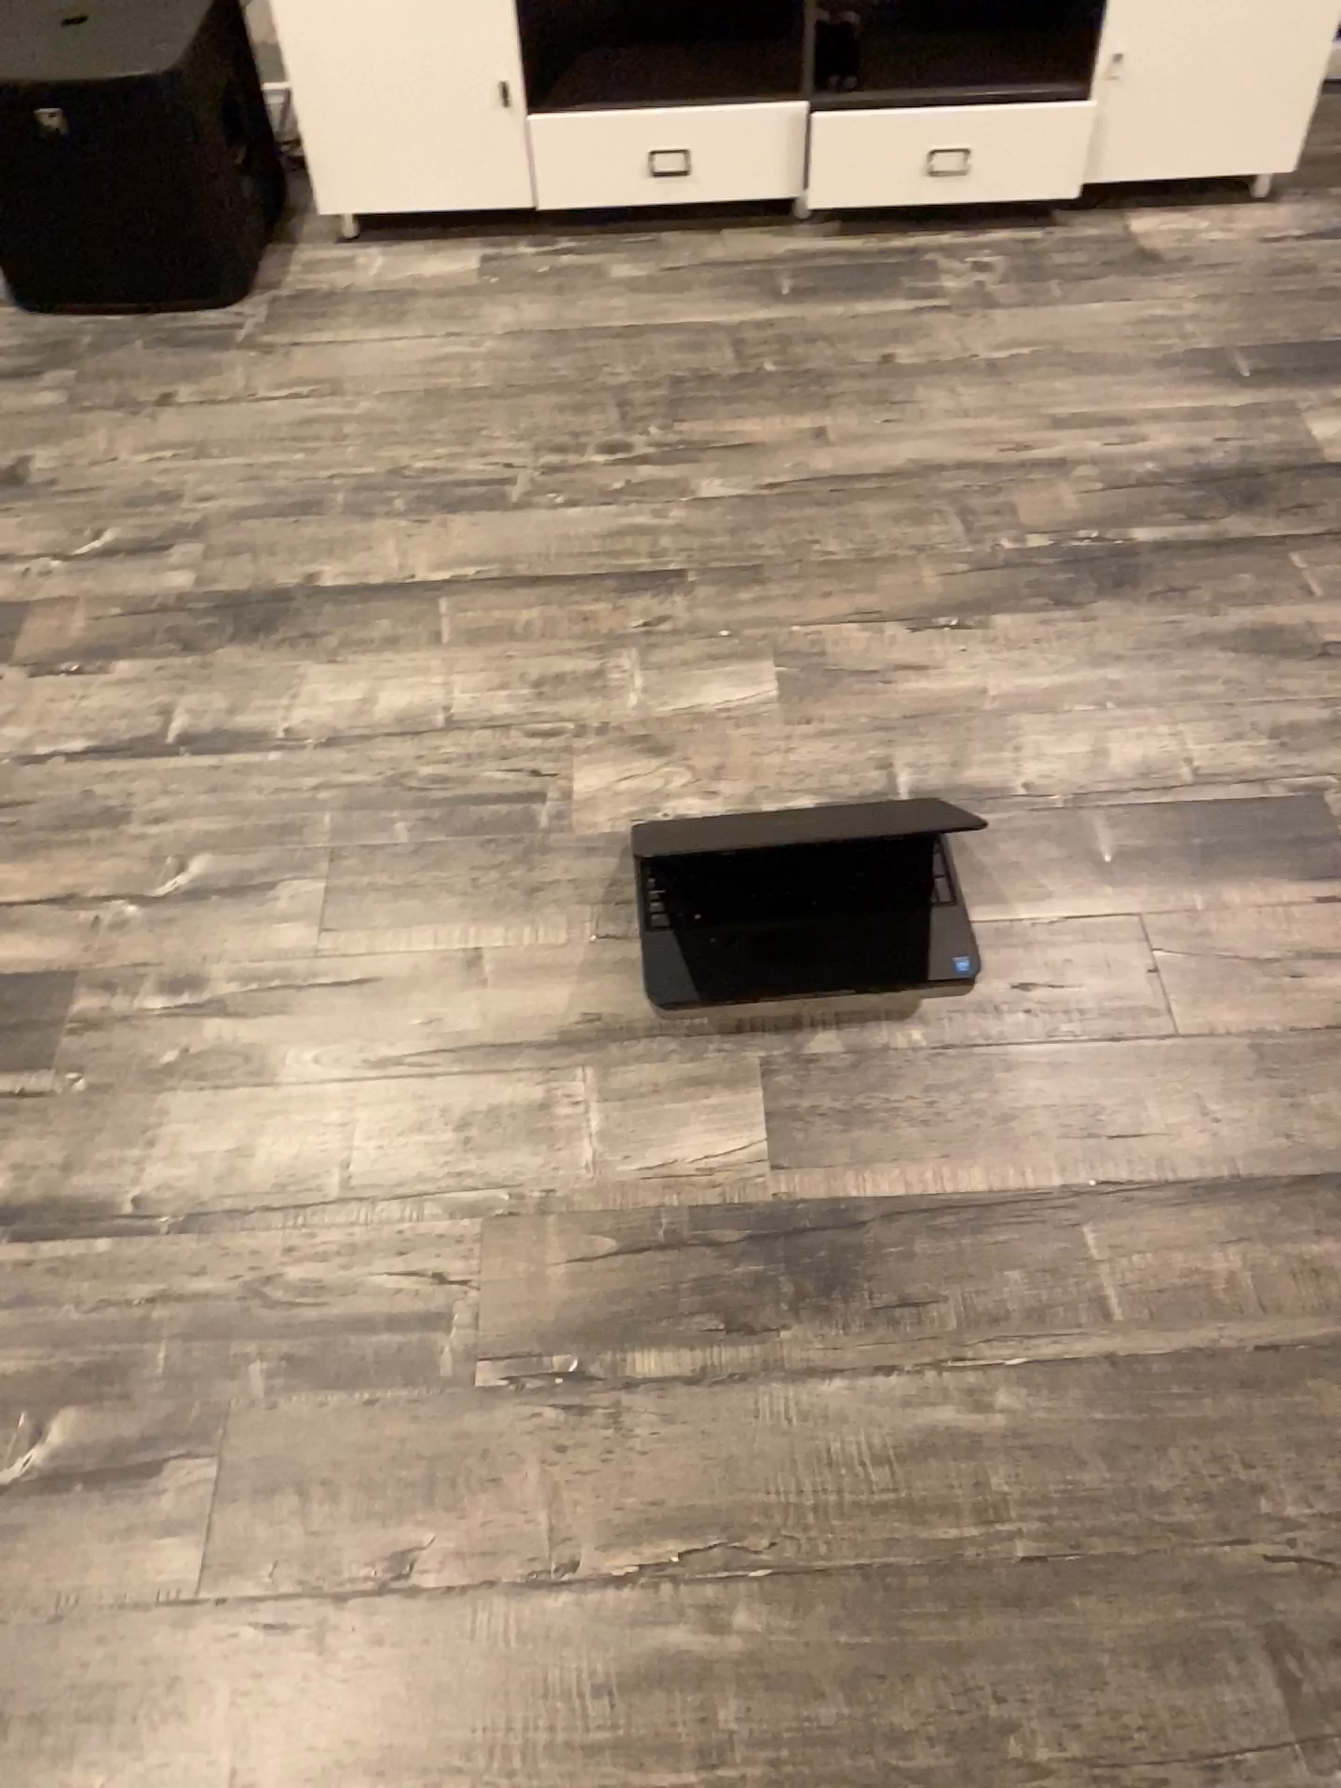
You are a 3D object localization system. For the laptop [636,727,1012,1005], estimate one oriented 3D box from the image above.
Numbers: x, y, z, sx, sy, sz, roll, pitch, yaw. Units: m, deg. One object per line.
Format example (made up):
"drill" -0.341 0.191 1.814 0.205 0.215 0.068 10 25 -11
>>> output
"laptop" 0.153 -0.032 1.487 0.352 0.170 0.231 -4 50 -2
